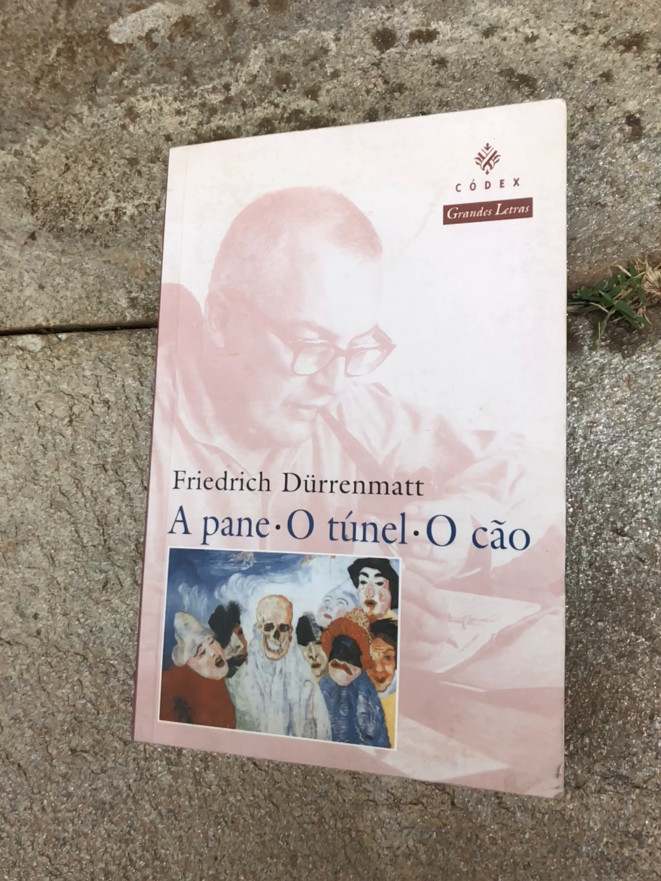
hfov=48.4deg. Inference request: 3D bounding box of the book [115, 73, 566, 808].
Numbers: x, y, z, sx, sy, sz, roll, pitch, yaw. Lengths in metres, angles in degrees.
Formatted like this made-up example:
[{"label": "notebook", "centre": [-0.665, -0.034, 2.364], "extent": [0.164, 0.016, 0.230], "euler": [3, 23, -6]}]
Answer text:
[{"label": "book", "centre": [0.002, -0.004, 0.239], "extent": [0.138, 0.020, 0.210], "euler": [1, 86, 17]}]
